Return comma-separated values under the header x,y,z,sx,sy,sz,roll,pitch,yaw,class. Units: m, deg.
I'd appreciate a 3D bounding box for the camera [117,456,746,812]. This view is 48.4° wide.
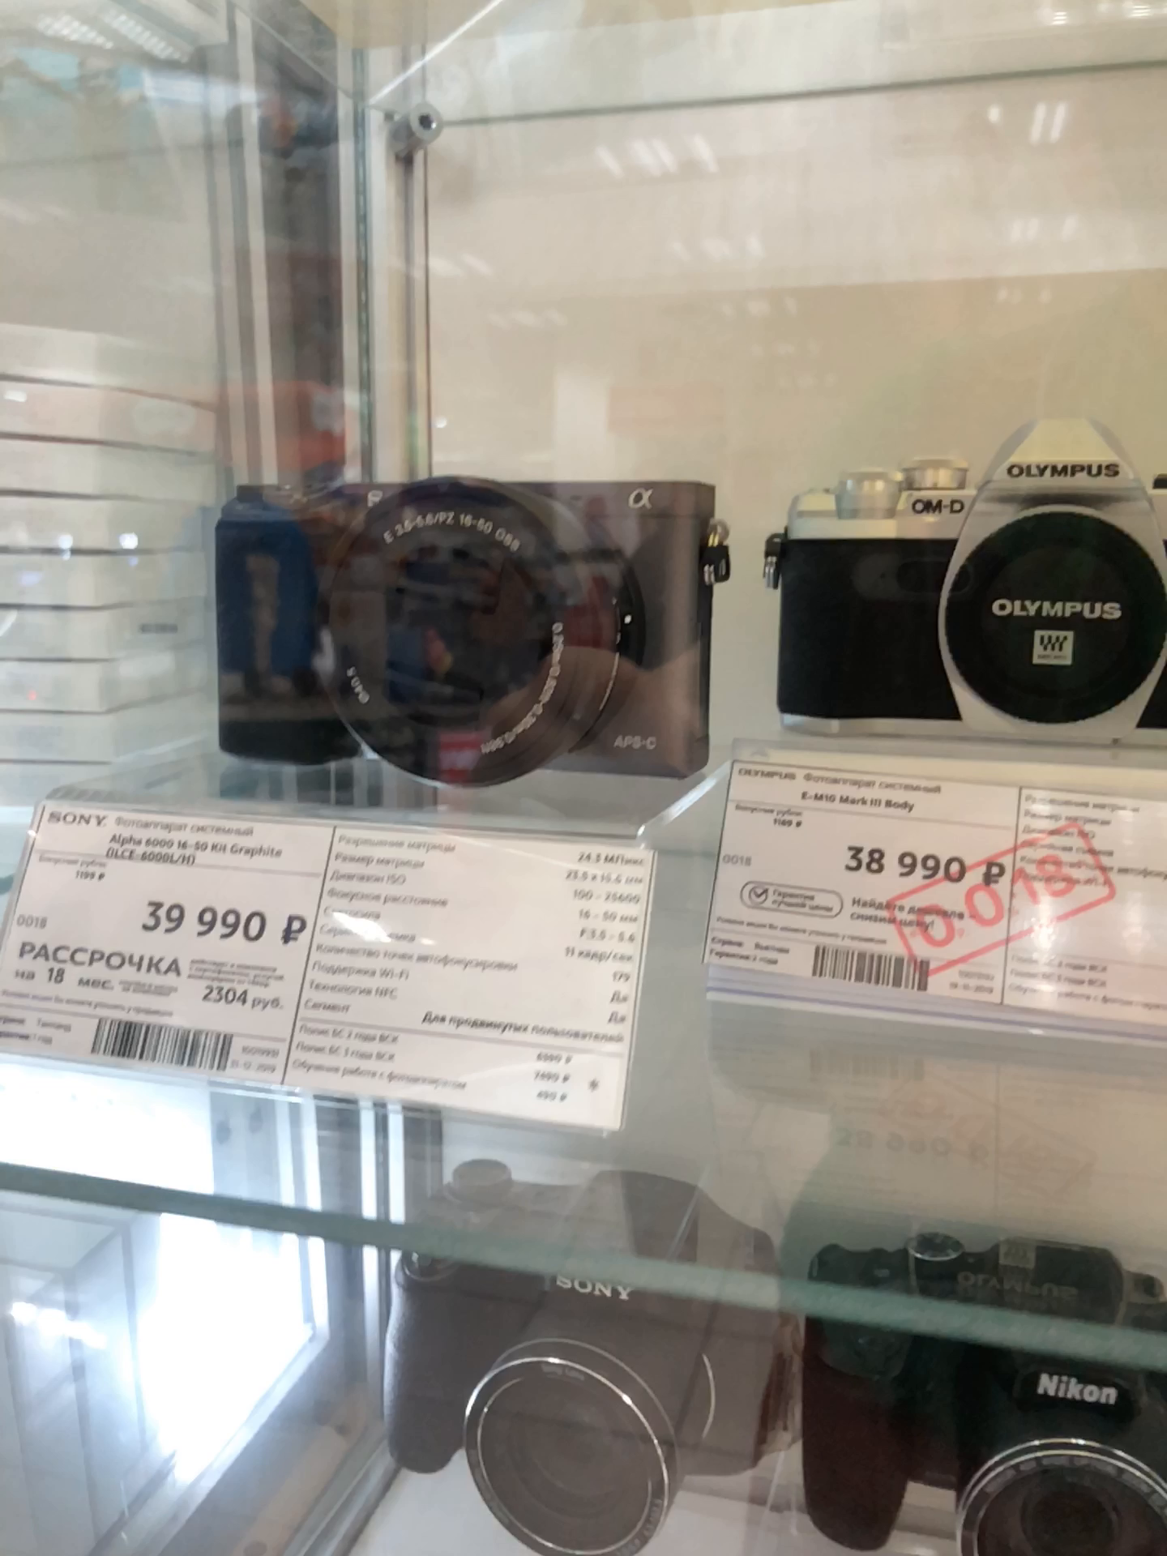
x,y,z,sx,sy,sz,roll,pitch,yaw,class
-0.032,-0.035,0.307,0.130,0.070,0.066,2,9,18,camera

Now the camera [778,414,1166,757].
x,y,z,sx,sy,sz,roll,pitch,yaw,class
0.124,-0.054,0.370,0.122,0.081,0.087,2,9,18,camera
